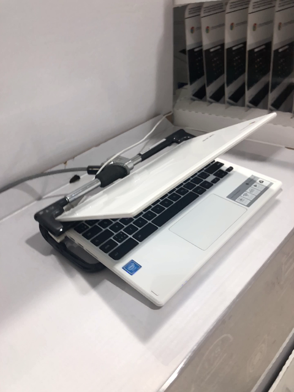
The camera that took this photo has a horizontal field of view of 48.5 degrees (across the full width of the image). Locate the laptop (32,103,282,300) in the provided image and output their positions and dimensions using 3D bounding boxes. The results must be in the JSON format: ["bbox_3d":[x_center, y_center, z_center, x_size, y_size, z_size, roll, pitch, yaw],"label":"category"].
[{"bbox_3d":[0.028,-0.027,0.464,0.201,0.091,0.285,23,44,37],"label":"laptop"}]
